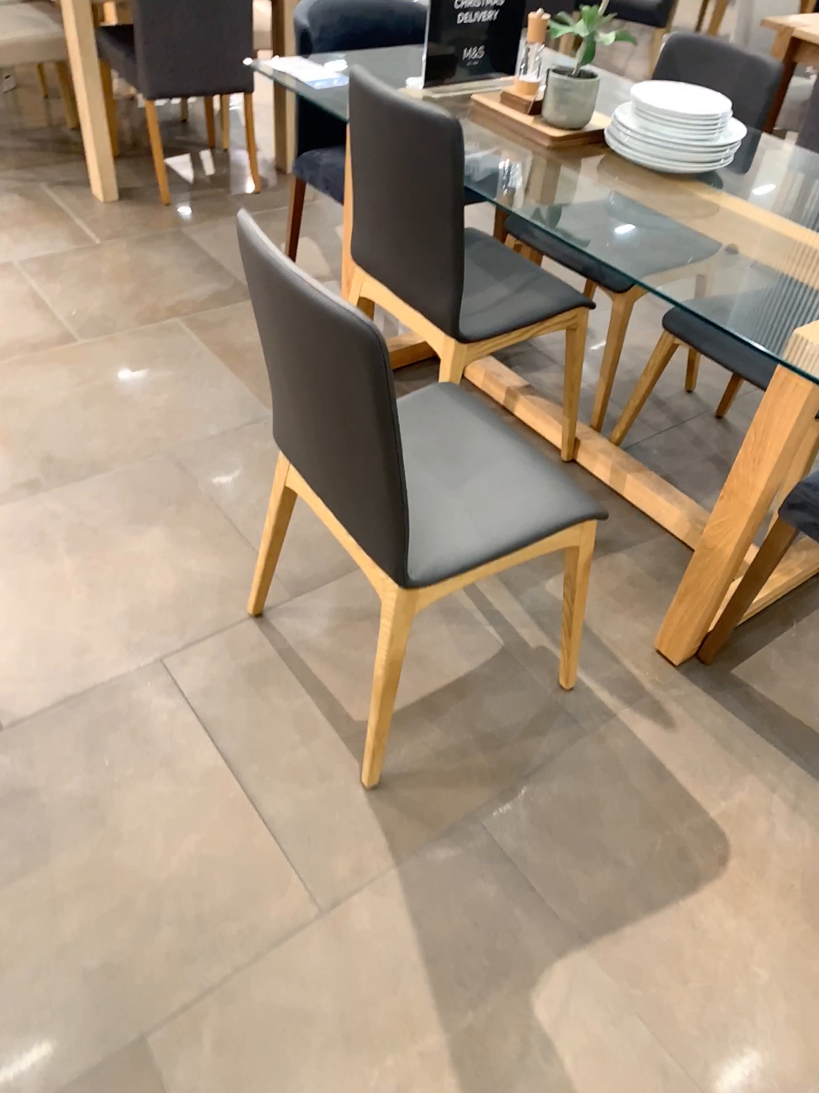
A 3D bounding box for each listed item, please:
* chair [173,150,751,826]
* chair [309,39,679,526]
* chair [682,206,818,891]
[{"bbox_3d":[0.020,-0.101,1.372,0.538,0.813,0.566,-21,49,-27],"label":"chair"},{"bbox_3d":[0.123,-0.593,1.889,0.498,0.833,0.525,-24,50,-29],"label":"chair"},{"bbox_3d":[0.977,-0.006,1.390,0.545,0.813,0.589,-28,53,-32],"label":"chair"}]
